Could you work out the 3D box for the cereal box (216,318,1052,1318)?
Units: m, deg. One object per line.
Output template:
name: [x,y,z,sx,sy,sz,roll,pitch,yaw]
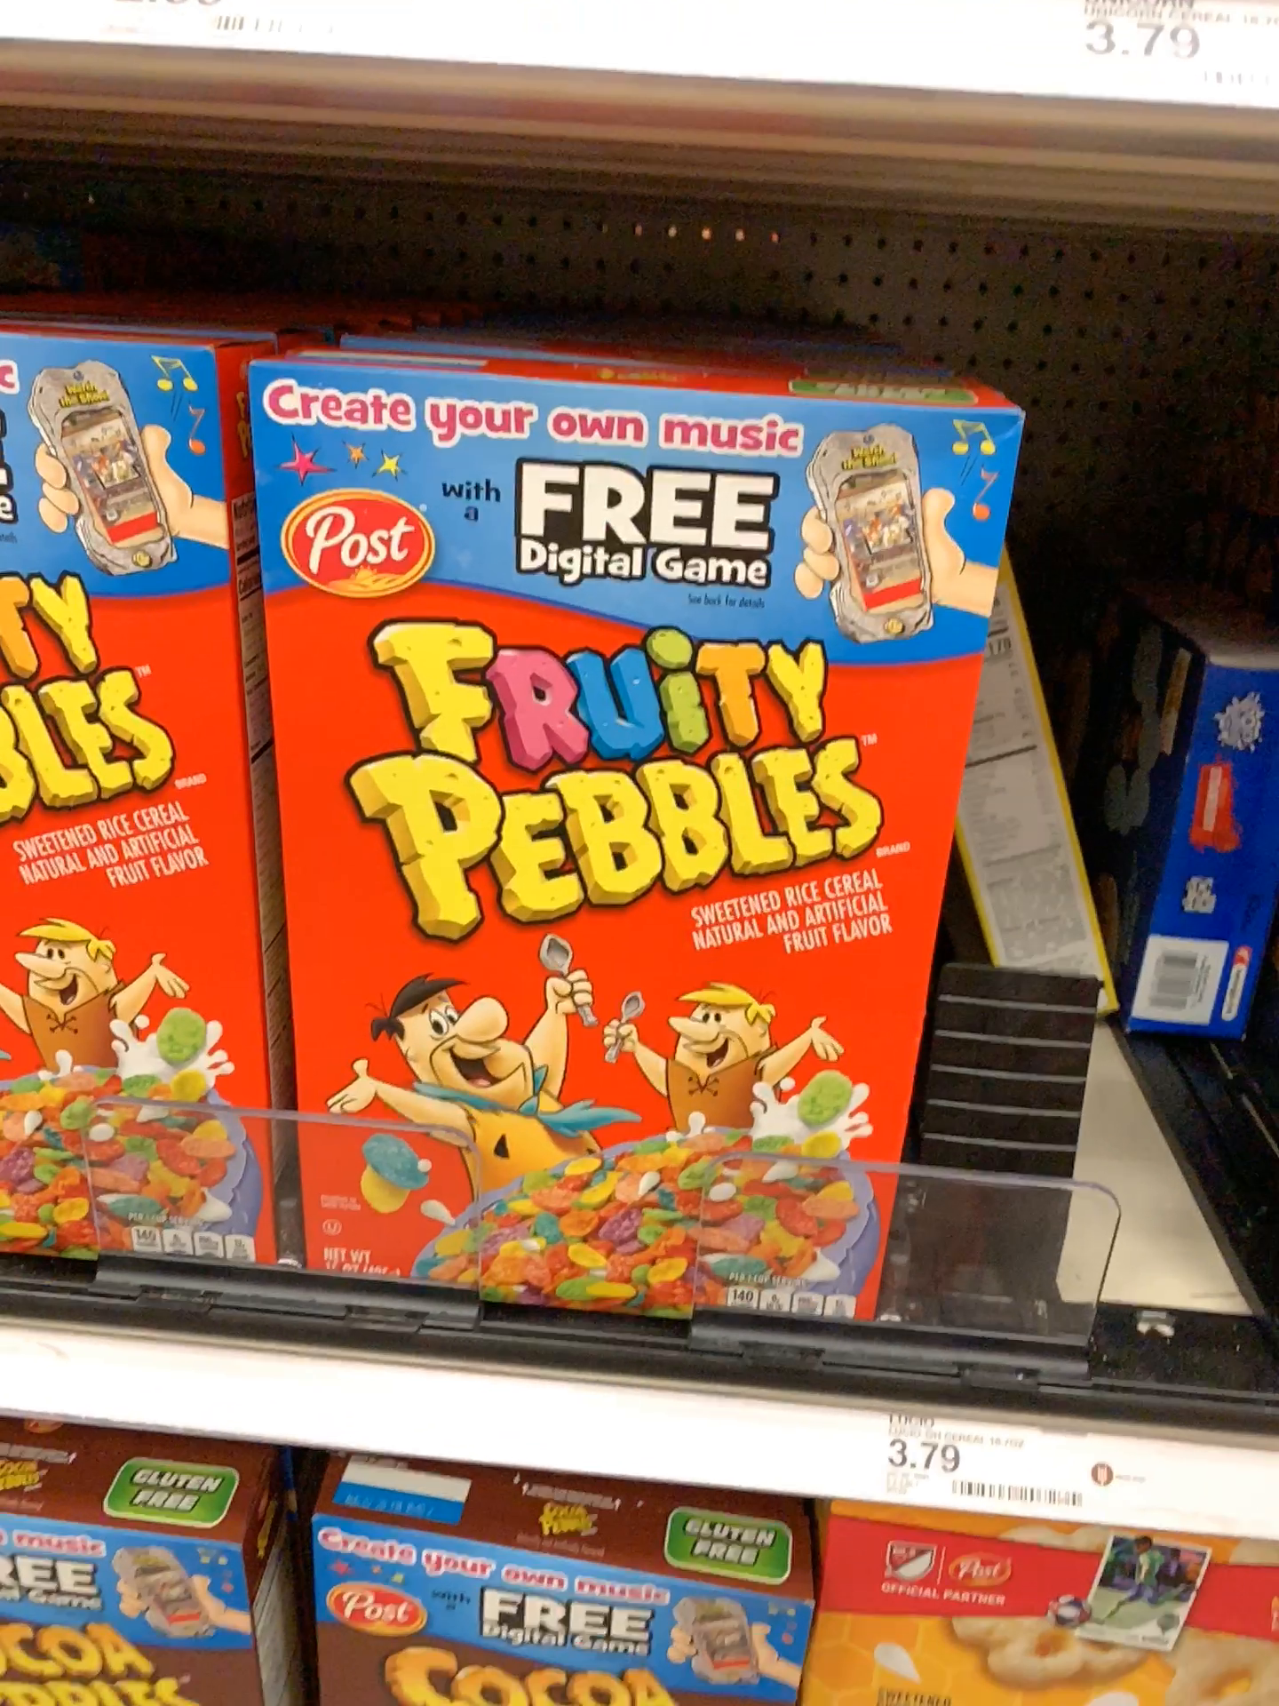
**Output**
cereal box: [-0.008,0.000,0.402,0.200,0.289,0.060,4,25,3]
